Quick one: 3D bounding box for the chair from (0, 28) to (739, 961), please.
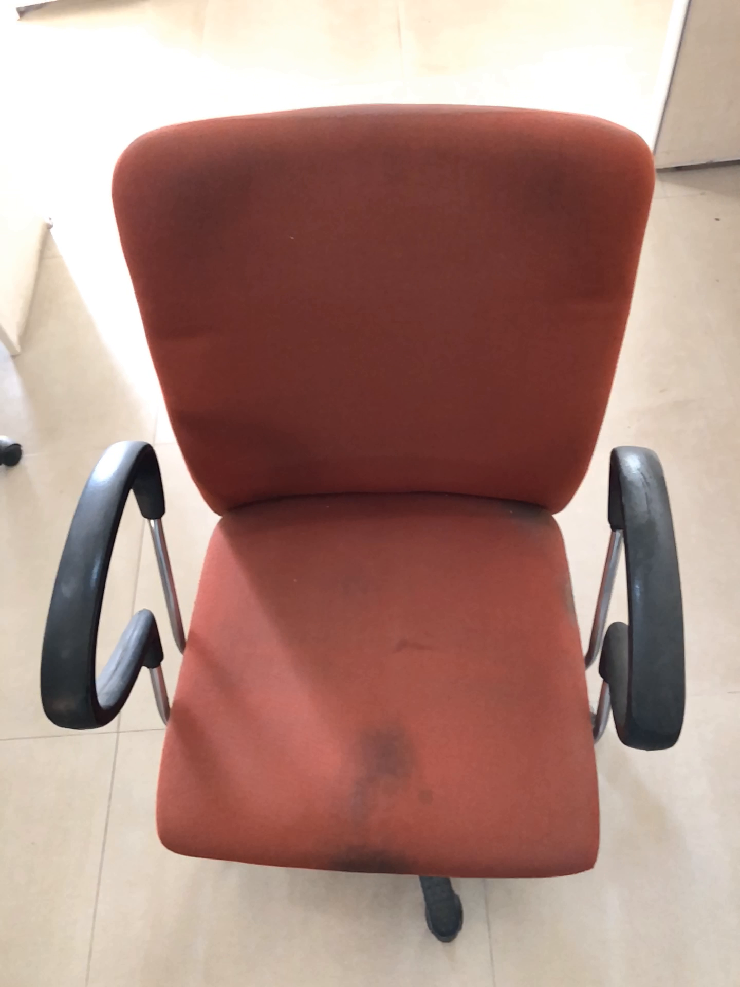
[{"bbox_3d":[0.022,0.144,1.039,0.770,1.046,0.703,1,59,7],"label":"chair"}]
